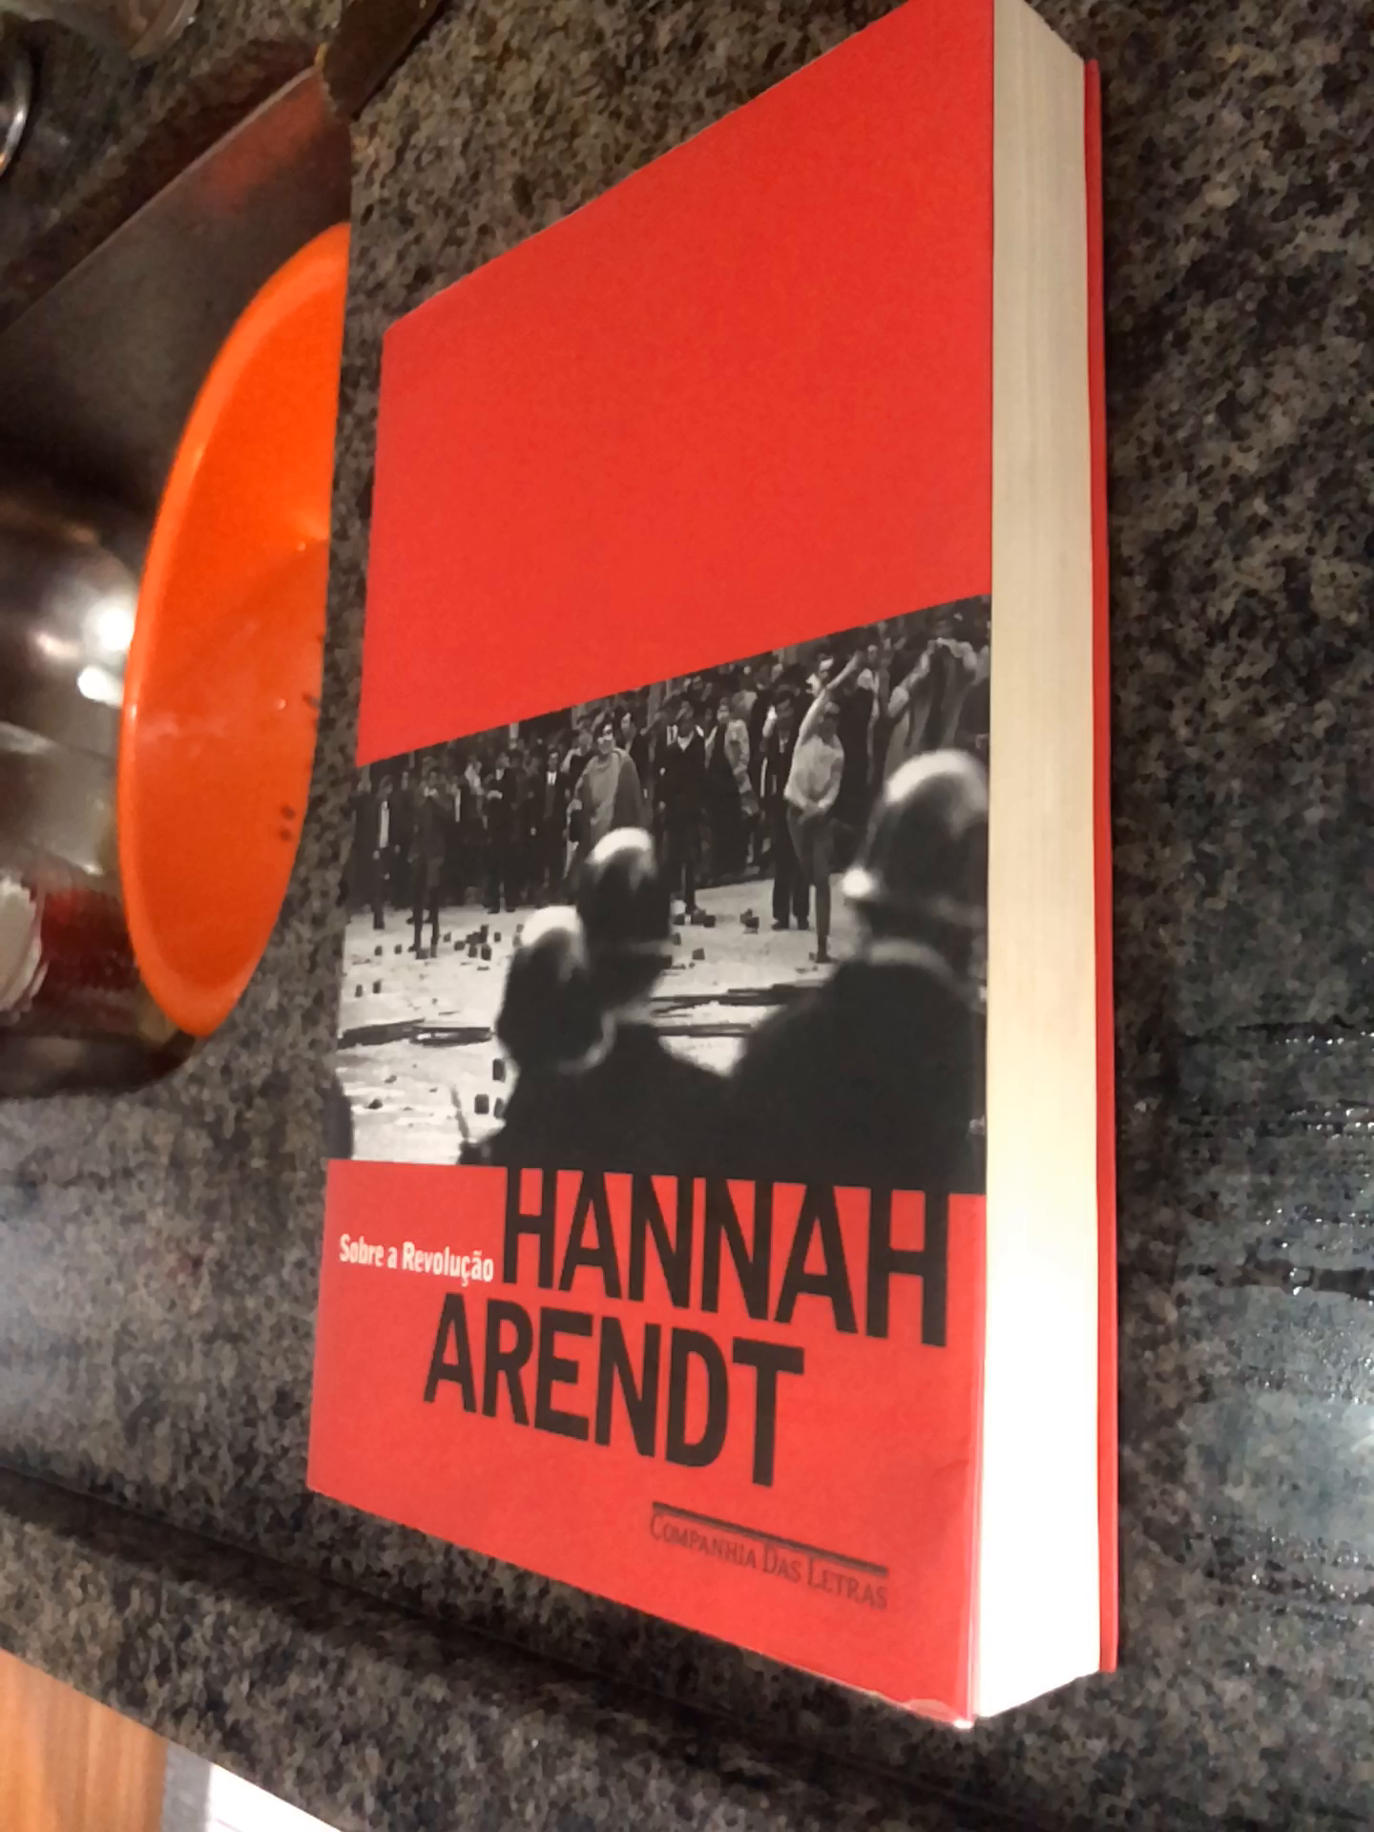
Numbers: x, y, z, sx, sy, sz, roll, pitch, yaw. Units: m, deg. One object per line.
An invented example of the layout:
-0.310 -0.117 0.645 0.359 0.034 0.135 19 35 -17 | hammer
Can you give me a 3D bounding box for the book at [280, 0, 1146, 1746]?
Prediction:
-0.004 -0.011 0.235 0.145 0.030 0.210 -7 77 46 | book
